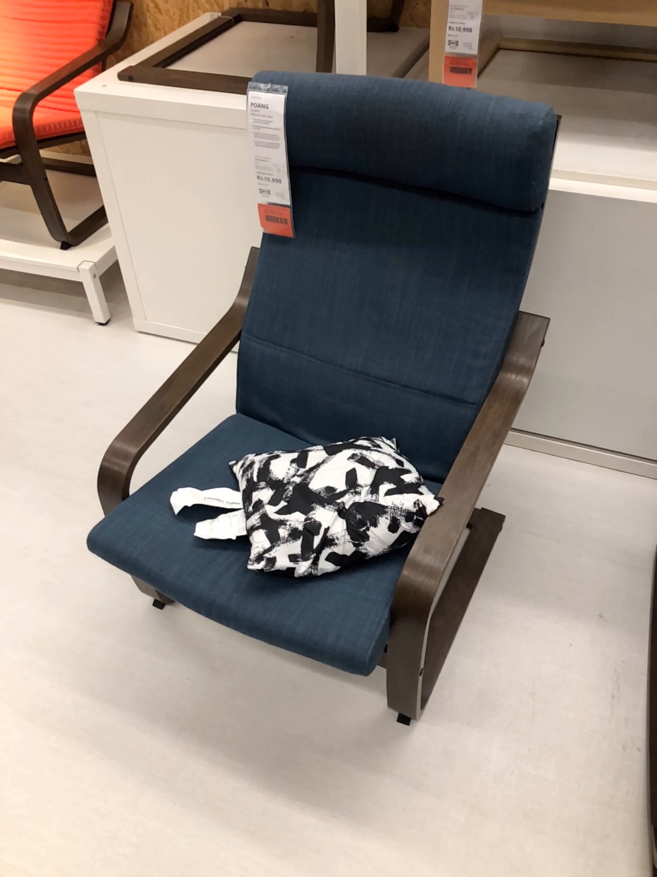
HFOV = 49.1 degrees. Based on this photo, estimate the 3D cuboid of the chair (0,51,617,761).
[{"bbox_3d":[-0.031,-0.081,1.307,0.721,0.884,0.693,19,48,22],"label":"chair"}]
